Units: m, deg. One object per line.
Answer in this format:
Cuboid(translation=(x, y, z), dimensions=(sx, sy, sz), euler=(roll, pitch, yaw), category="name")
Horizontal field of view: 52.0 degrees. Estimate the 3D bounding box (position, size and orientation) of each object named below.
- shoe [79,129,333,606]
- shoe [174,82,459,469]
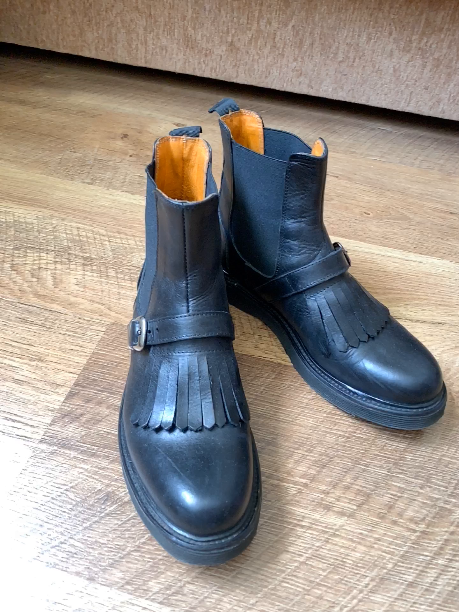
Cuboid(translation=(-0.034, 0.020, 0.306), dimensions=(0.089, 0.151, 0.261), euler=(-5, 47, -10), category="shoe")
Cuboid(translation=(0.076, -0.038, 0.357), dimensions=(0.100, 0.149, 0.261), euler=(-29, 55, -28), category="shoe")
